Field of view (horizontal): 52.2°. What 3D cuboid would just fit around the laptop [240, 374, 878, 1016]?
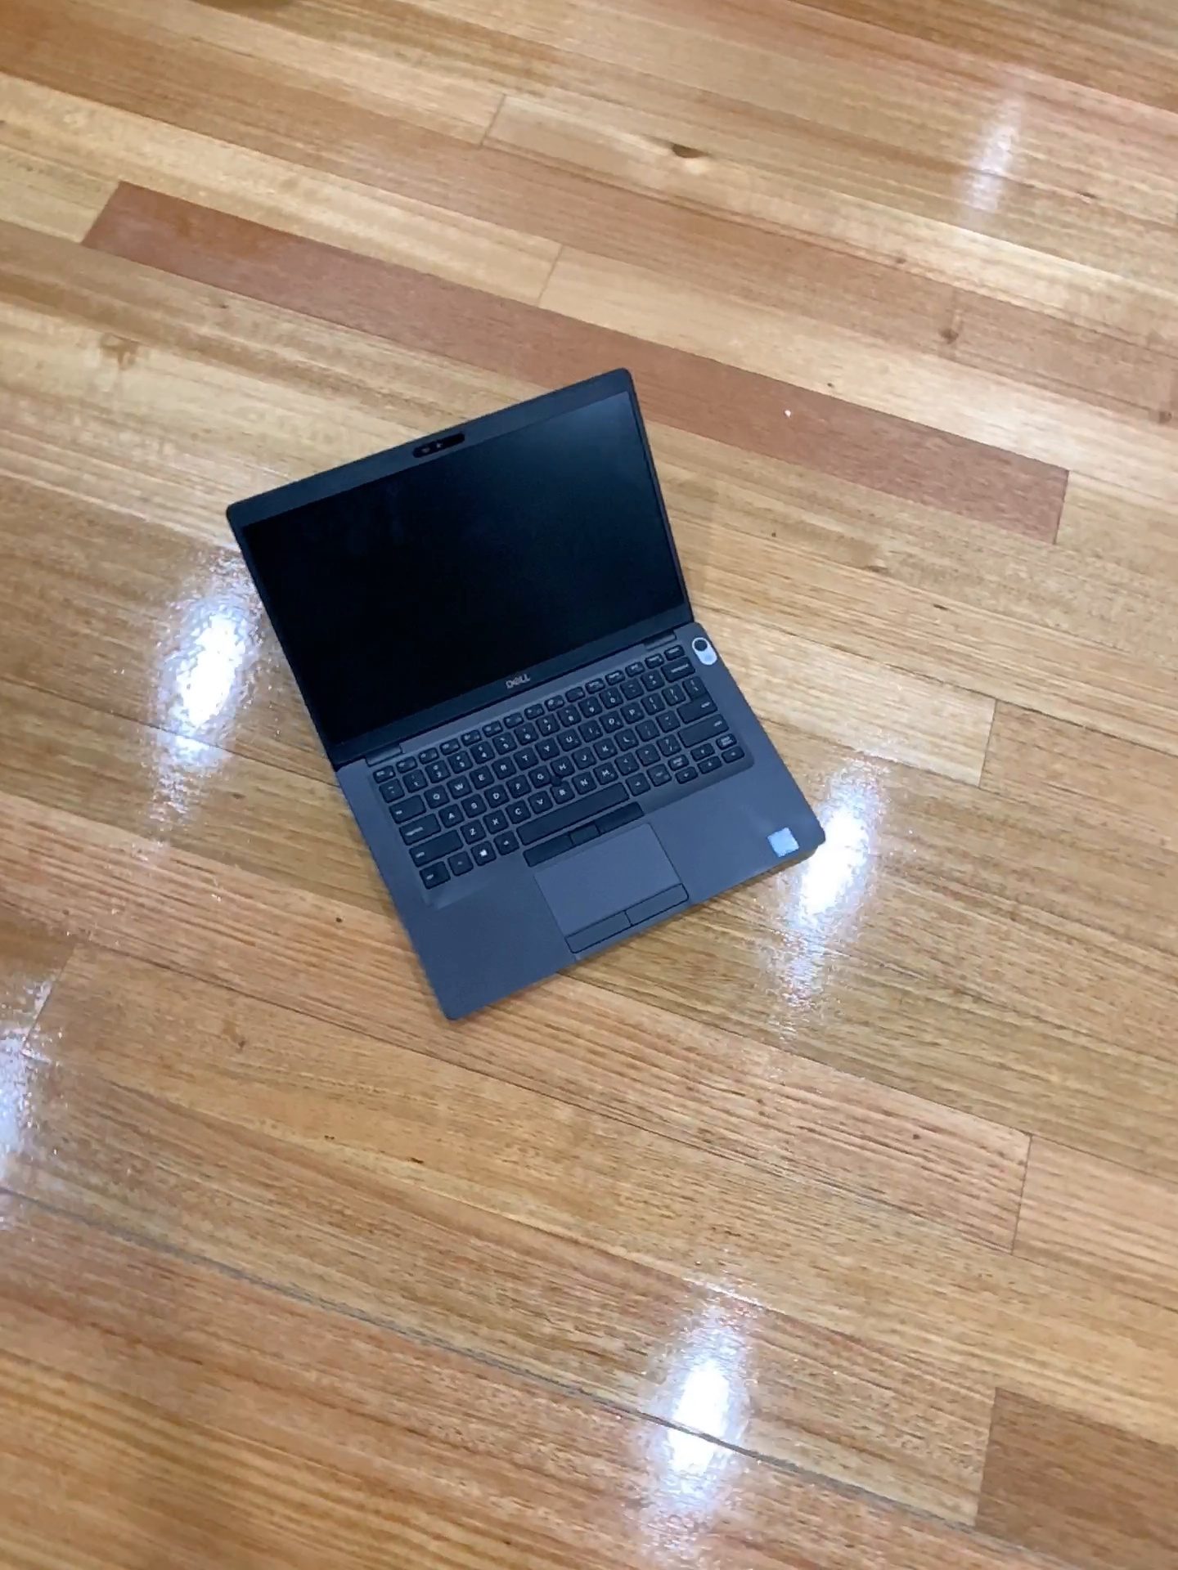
[{"bbox_3d":[-0.031,-0.077,0.904,0.320,0.134,0.372,-23,72,-14],"label":"laptop"}]
